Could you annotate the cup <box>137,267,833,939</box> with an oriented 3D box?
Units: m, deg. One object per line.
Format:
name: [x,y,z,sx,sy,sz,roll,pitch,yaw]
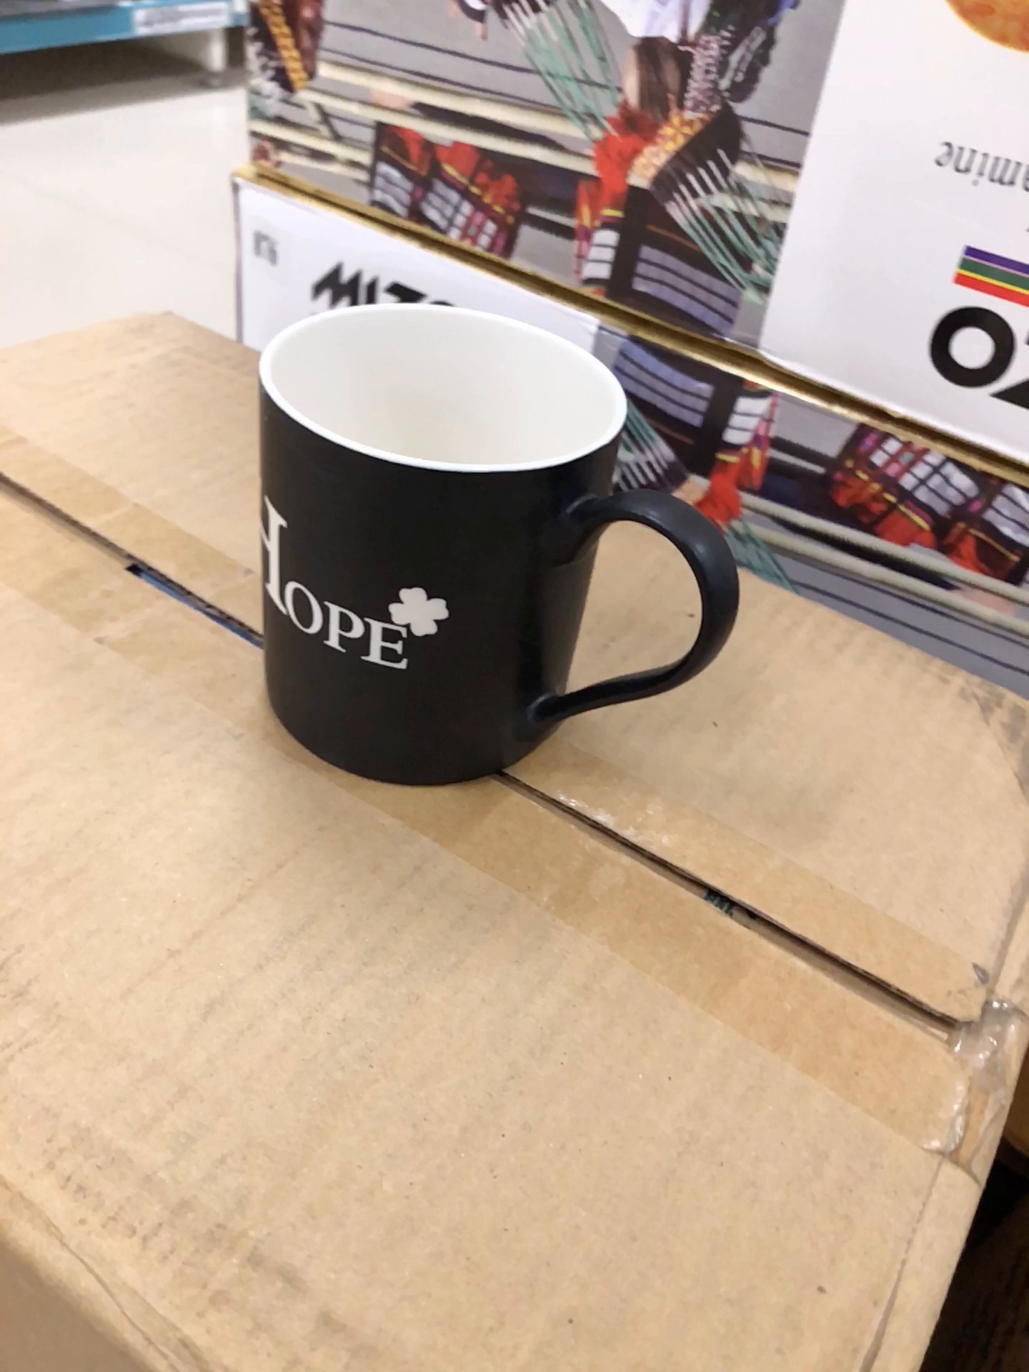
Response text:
cup: [-0.008,-0.027,0.273,0.120,0.089,0.091,26,42,18]
